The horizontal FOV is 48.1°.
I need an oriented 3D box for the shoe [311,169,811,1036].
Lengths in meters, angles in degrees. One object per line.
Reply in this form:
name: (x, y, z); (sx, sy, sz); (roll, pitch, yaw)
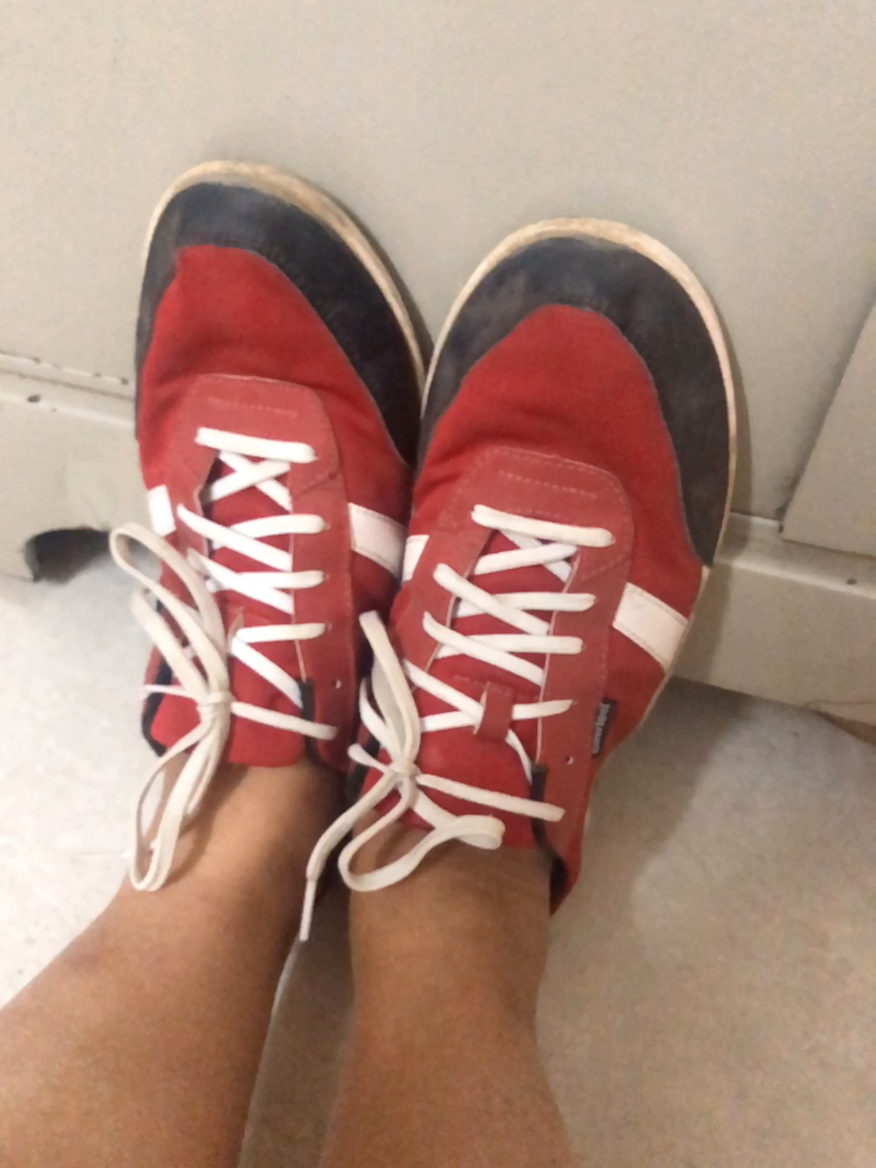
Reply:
shoe: (0.031, 0.008, 0.318); (0.100, 0.249, 0.080); (12, 21, 9)

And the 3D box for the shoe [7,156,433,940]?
shoe: (-0.054, -0.009, 0.313); (0.100, 0.229, 0.080); (1, 21, 1)
